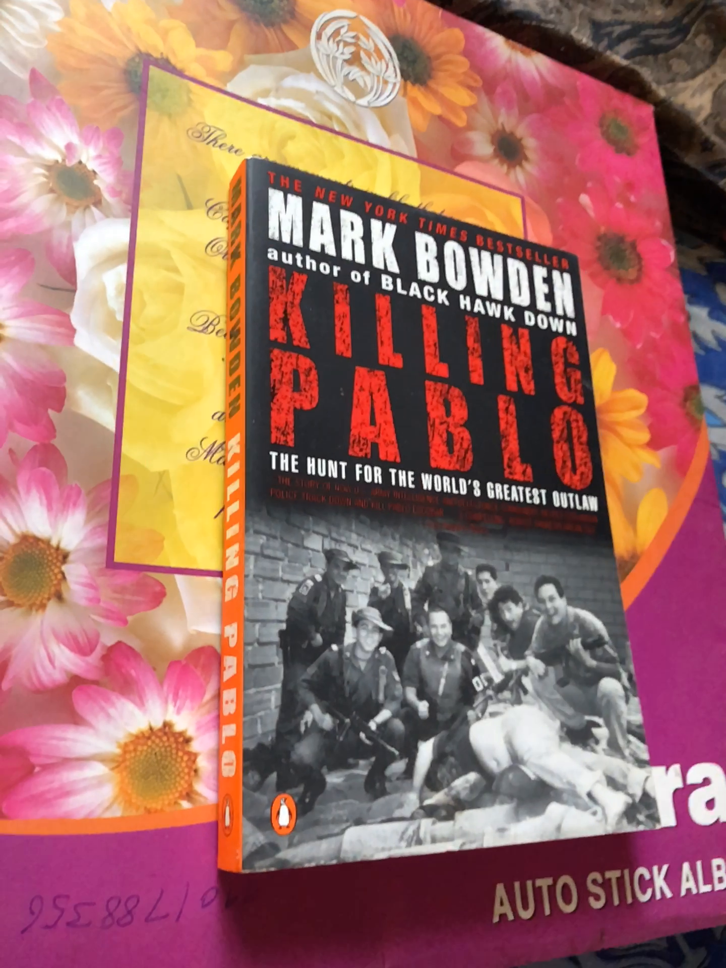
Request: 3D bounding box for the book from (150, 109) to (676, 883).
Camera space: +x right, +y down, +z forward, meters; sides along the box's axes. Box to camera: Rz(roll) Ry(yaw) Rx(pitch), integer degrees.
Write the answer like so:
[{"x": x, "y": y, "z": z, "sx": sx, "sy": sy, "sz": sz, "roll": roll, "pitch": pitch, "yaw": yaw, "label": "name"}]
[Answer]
[{"x": 0.013, "y": -0.004, "z": 0.269, "sx": 0.150, "sy": 0.030, "sz": 0.230, "roll": 6, "pitch": 68, "yaw": -22, "label": "book"}]
